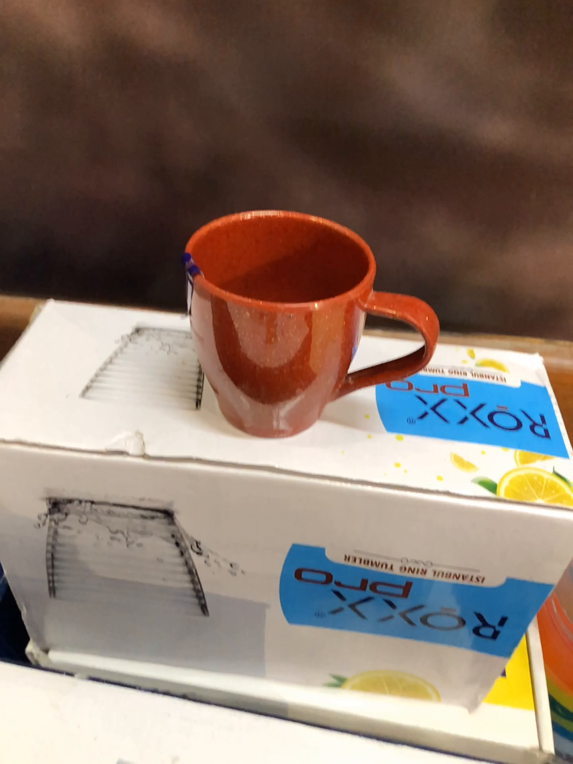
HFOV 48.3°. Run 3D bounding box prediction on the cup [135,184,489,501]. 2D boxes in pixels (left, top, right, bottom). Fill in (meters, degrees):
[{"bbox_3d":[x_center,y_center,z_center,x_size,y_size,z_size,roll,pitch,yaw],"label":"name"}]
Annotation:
[{"bbox_3d":[0.012,-0.019,0.232,0.100,0.070,0.070,13,39,15],"label":"cup"}]
